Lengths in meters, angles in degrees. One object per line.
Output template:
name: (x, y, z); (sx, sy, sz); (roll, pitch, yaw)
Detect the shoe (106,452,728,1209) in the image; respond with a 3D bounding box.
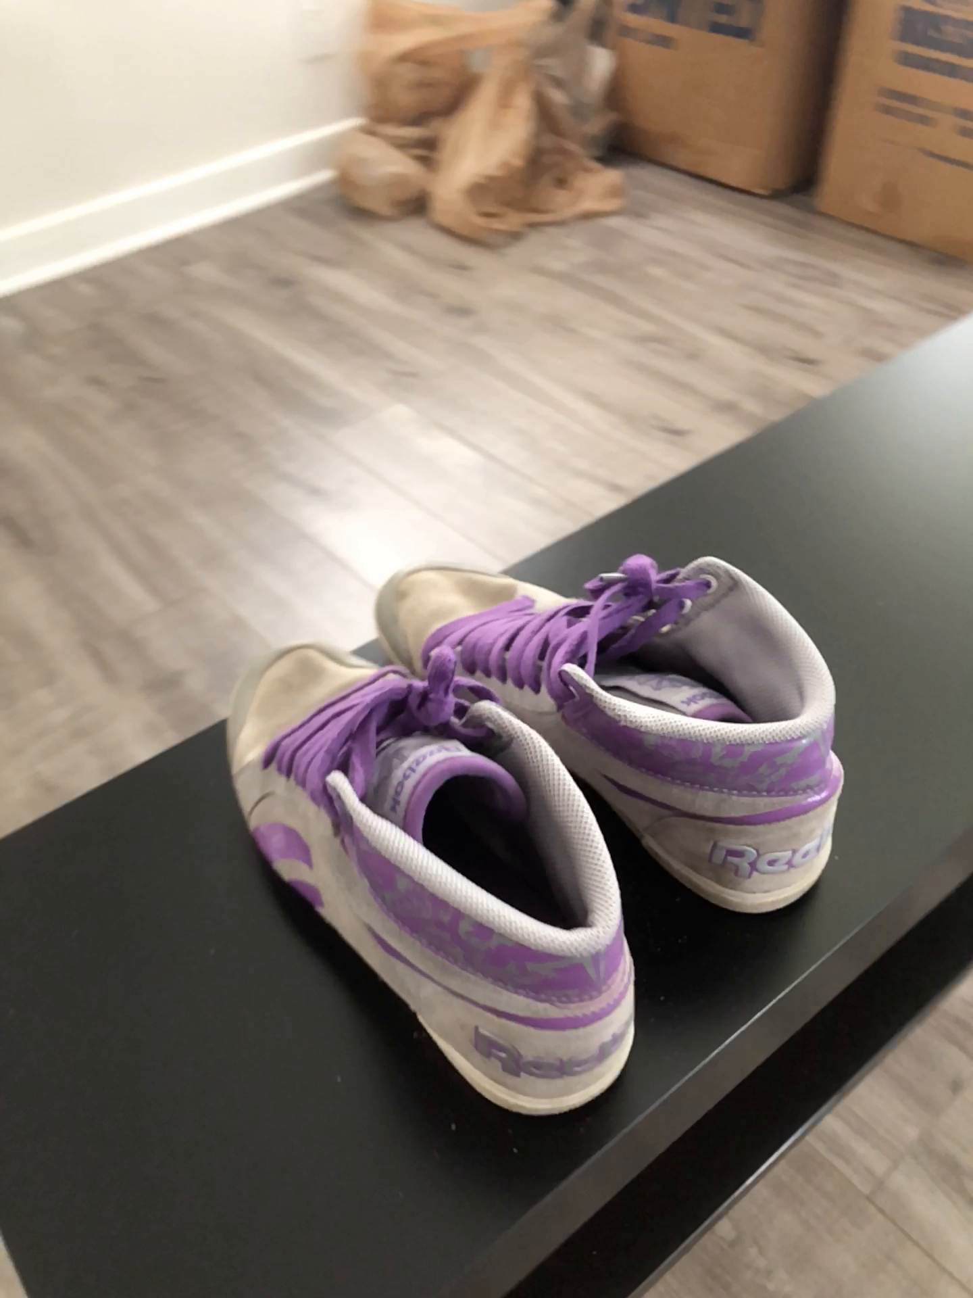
shoe: (-0.037, 0.045, 0.383); (0.090, 0.110, 0.241); (-26, 47, -22)

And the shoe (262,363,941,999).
shoe: (0.031, -0.002, 0.432); (0.100, 0.120, 0.241); (-34, 51, -28)
